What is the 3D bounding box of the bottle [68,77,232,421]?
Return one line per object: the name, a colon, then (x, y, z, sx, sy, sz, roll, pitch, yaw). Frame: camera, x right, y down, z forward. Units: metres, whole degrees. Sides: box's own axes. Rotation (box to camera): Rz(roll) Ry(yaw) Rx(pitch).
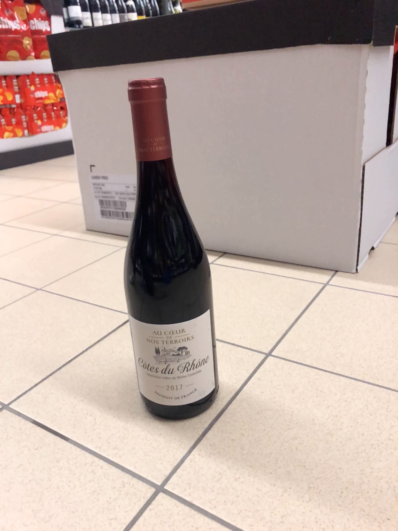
bottle: (-0.025, -0.009, 0.368, 0.090, 0.269, 0.090, -4, 22, 2)
